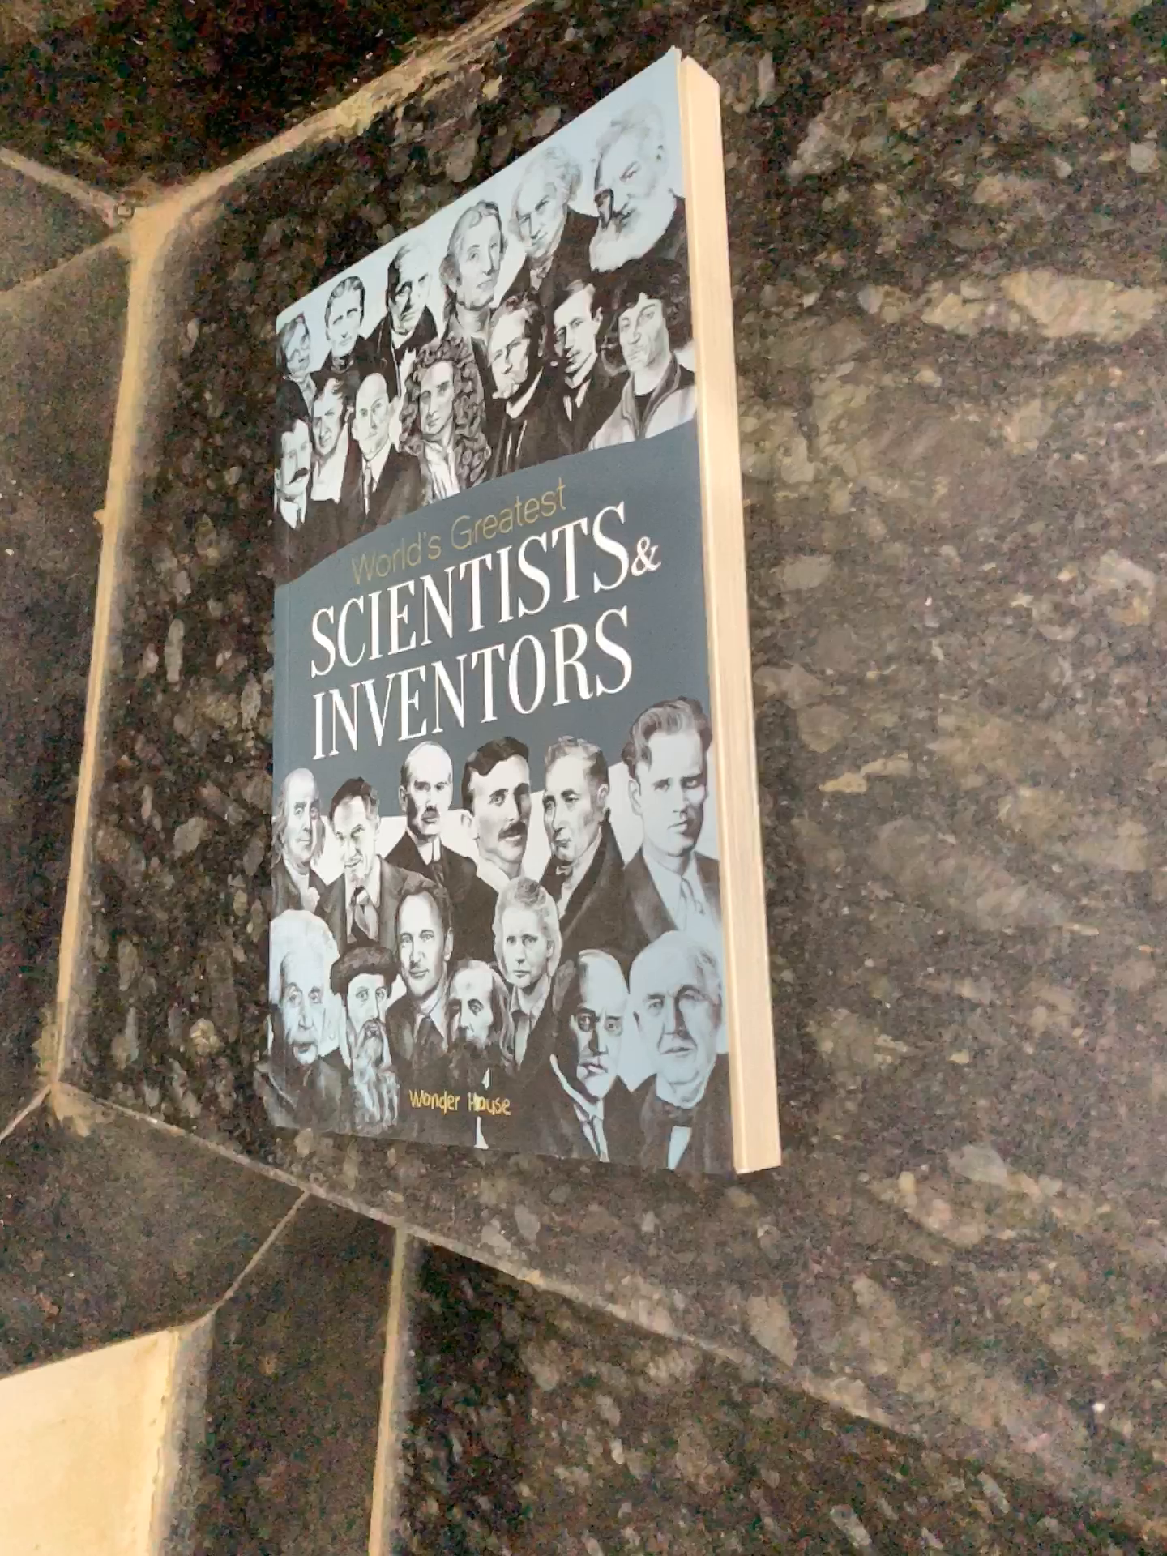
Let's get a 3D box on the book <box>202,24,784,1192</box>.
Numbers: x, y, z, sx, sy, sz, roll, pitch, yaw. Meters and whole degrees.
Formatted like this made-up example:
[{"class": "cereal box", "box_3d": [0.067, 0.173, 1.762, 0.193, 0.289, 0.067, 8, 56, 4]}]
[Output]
[{"class": "book", "box_3d": [-0.029, -0.026, 0.252, 0.141, 0.020, 0.200, -10, 77, 40]}]
